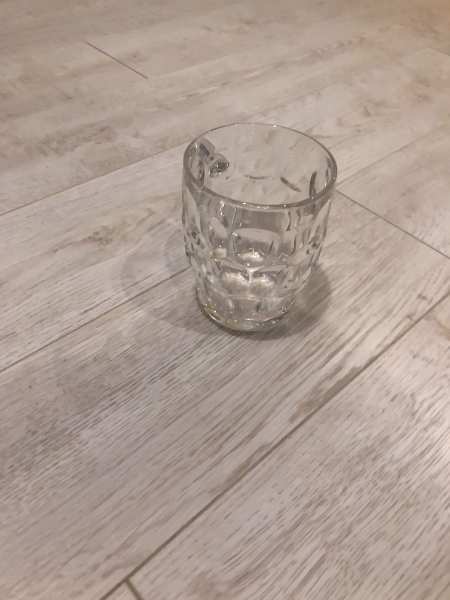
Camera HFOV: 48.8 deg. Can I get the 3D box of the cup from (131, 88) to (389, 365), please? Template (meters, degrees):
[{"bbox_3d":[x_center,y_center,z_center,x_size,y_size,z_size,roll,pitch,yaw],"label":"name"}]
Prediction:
[{"bbox_3d":[0.013,-0.057,0.346,0.100,0.109,0.141,-20,51,-22],"label":"cup"}]
